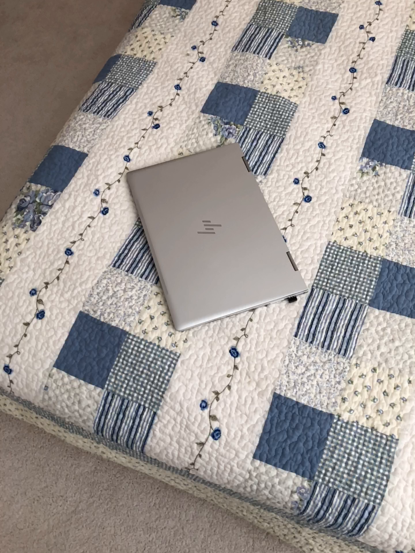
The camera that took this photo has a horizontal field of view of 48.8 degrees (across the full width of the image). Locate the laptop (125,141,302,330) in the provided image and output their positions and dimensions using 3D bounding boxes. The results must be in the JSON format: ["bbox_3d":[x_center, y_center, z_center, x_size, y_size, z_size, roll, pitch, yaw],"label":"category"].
[{"bbox_3d":[0.000,-0.106,0.945,0.256,0.011,0.386,-17,65,-8],"label":"laptop"}]
